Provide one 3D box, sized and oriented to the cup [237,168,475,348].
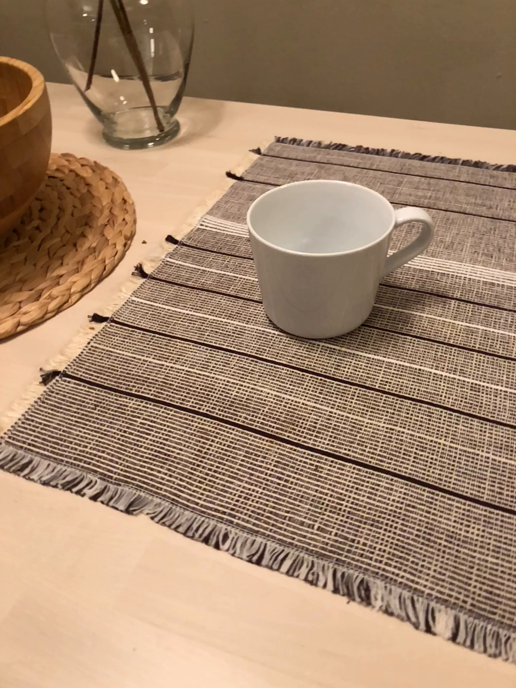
[{"bbox_3d":[0.062,-0.065,0.411,0.140,0.070,0.101,-7,42,-3],"label":"cup"}]
